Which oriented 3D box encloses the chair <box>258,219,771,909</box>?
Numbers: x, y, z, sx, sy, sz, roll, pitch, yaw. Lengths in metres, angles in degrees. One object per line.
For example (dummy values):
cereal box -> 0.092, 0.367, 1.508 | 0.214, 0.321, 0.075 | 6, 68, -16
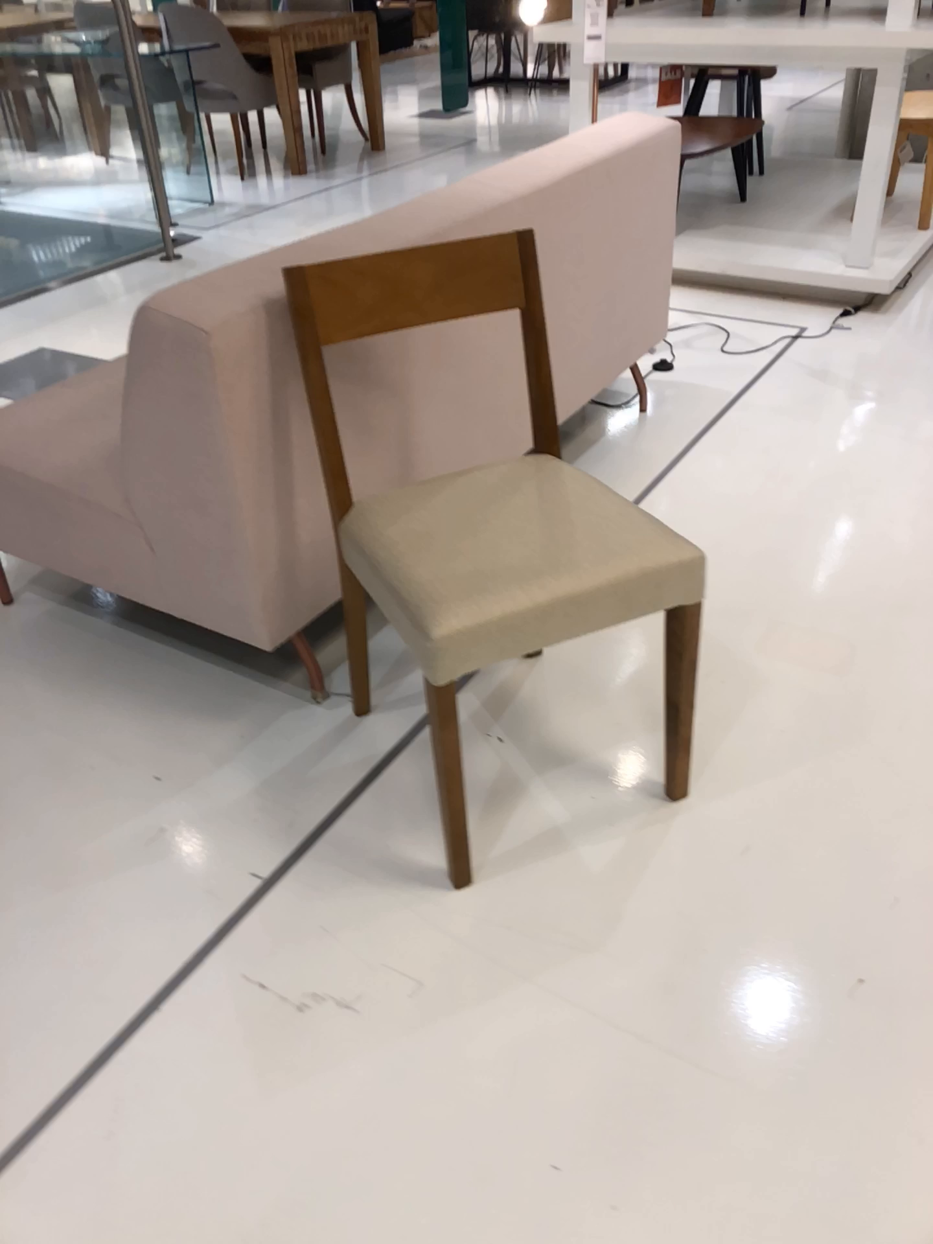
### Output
chair -> 0.045, -0.118, 1.616 | 0.491, 0.813, 0.594 | -16, 36, -18
